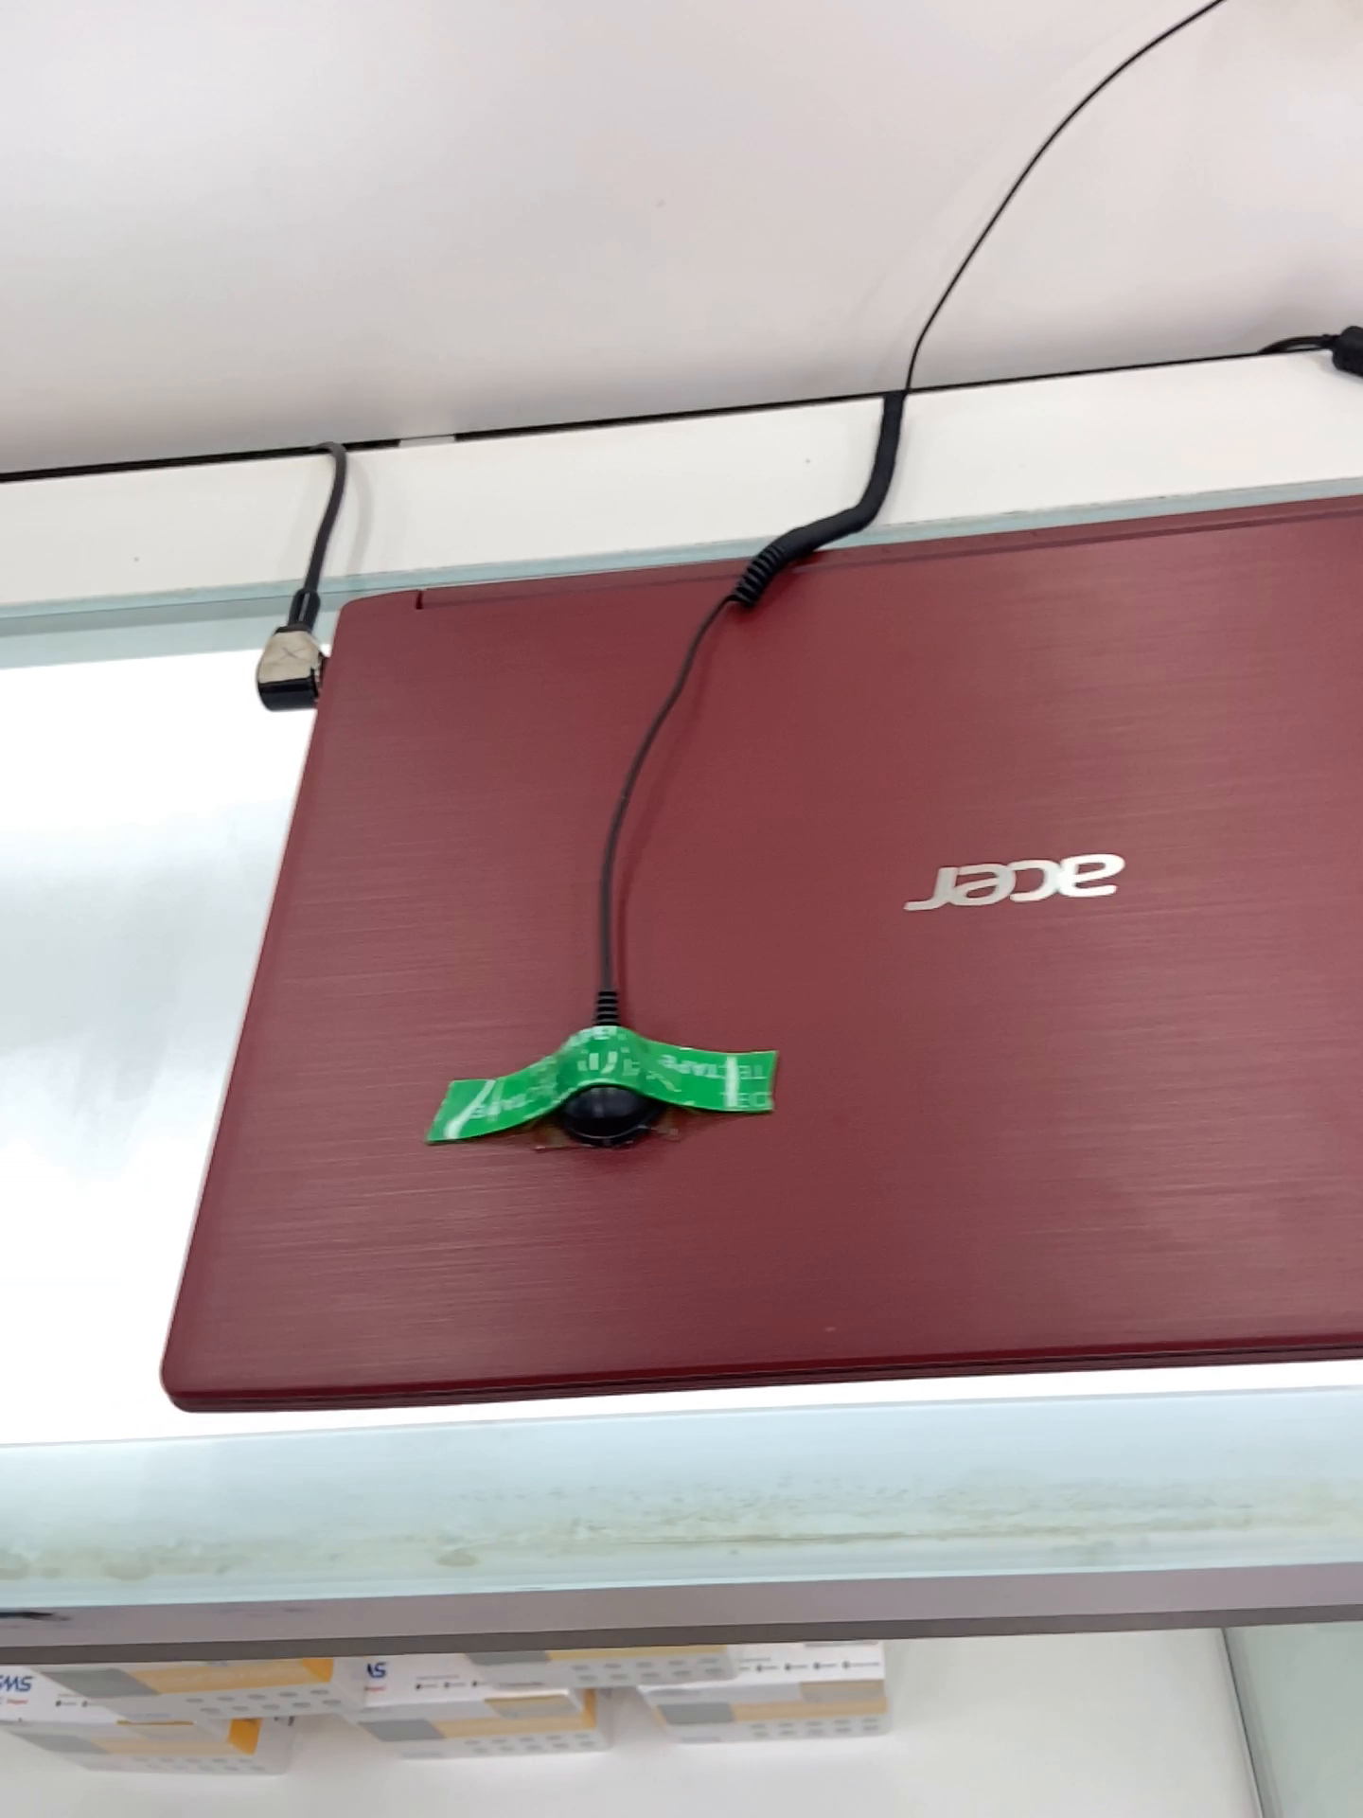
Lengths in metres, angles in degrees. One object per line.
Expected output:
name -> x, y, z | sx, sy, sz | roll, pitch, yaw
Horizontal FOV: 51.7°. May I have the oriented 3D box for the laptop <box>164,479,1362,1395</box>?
laptop -> 0.080, -0.016, 0.356 | 0.367, 0.006, 0.263 | -4, 48, 4
